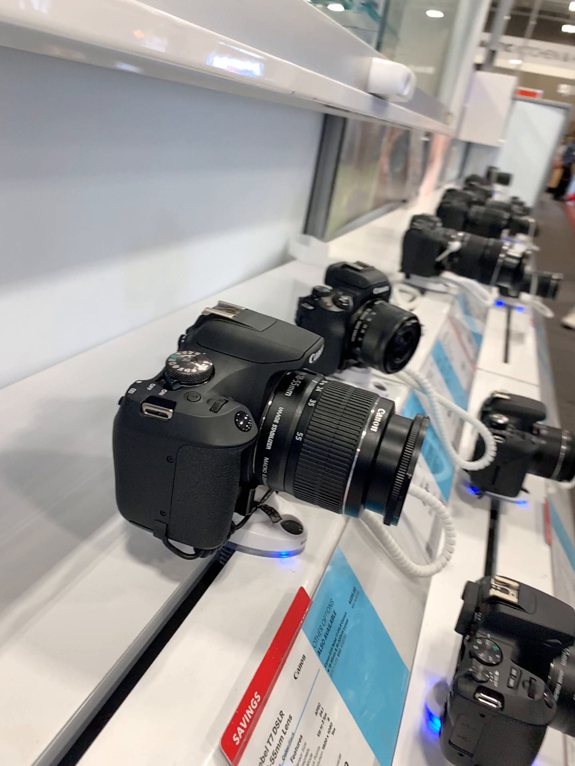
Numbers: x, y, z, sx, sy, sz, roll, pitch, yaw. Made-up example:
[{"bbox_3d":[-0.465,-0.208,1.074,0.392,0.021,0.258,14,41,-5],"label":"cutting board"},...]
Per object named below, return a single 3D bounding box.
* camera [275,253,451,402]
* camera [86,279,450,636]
[{"bbox_3d":[0.070,-0.056,0.535,0.103,0.080,0.121,23,28,23],"label":"camera"},{"bbox_3d":[-0.005,0.024,0.313,0.141,0.100,0.126,18,26,15],"label":"camera"}]
